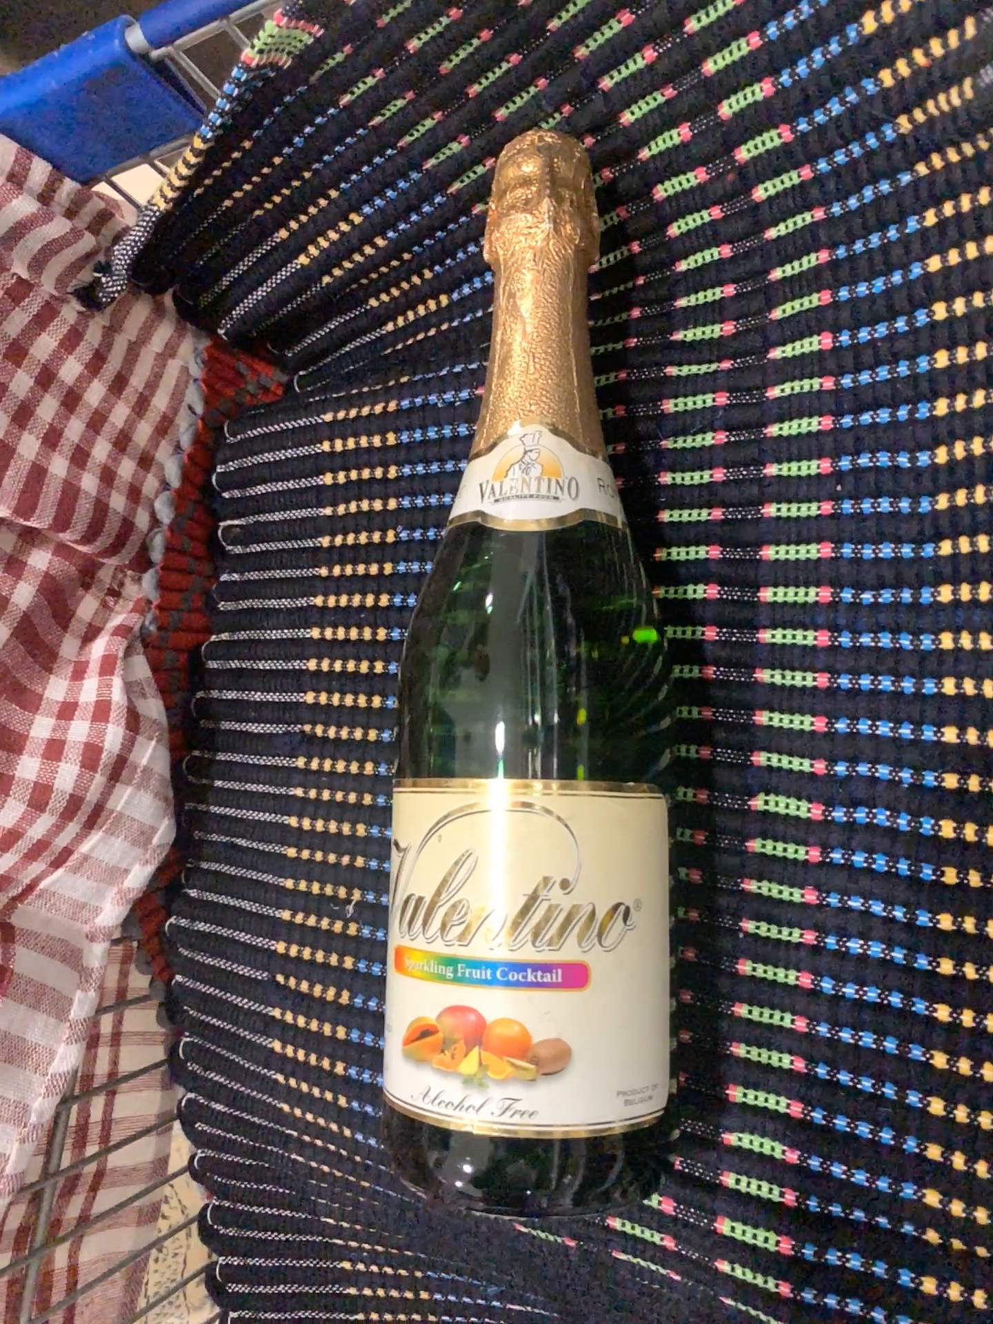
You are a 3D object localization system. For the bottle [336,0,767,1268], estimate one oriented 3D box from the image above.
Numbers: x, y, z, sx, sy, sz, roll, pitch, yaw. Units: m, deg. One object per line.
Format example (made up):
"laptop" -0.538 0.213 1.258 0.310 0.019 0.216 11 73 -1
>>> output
"bottle" 0.025 -0.035 0.303 0.090 0.080 0.350 -3 79 28
